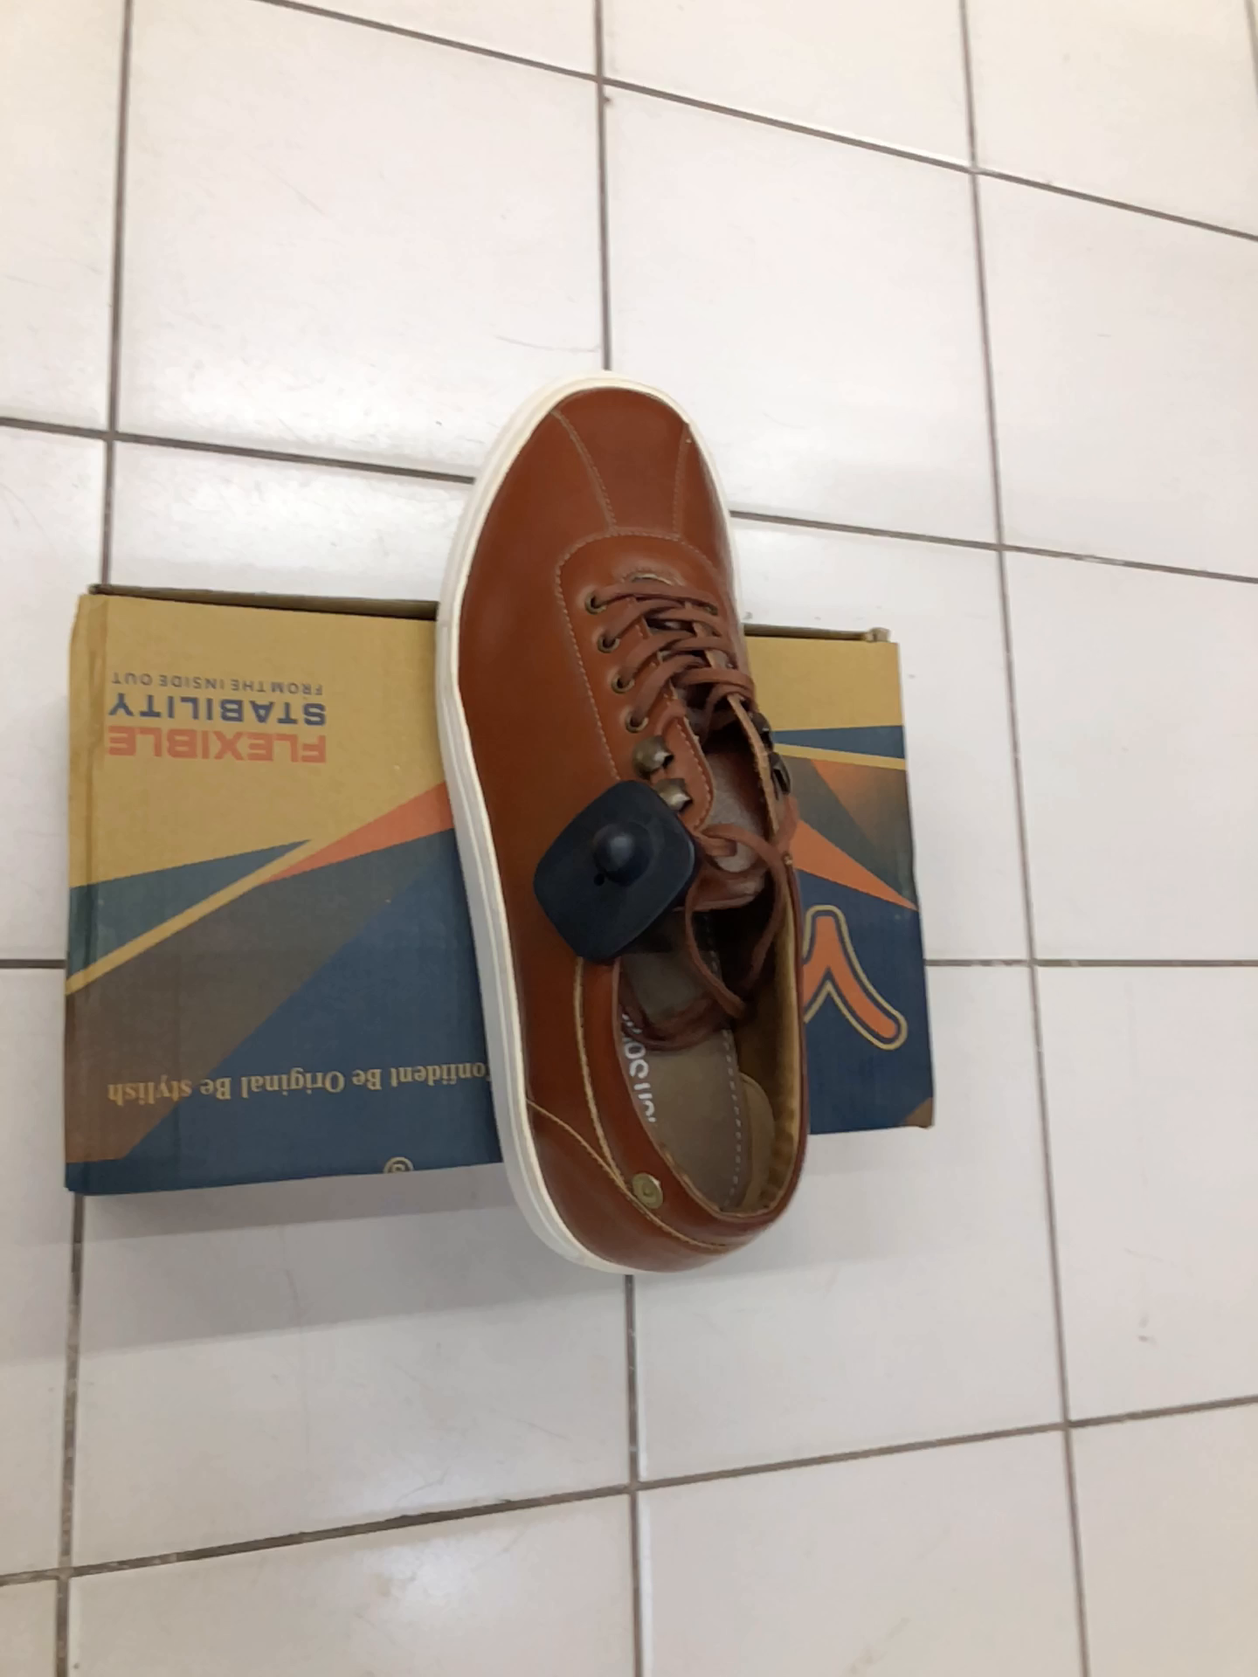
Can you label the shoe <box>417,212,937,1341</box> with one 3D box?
[{"bbox_3d":[0.004,-0.015,0.406,0.100,0.110,0.280,0,81,-21],"label":"shoe"}]
